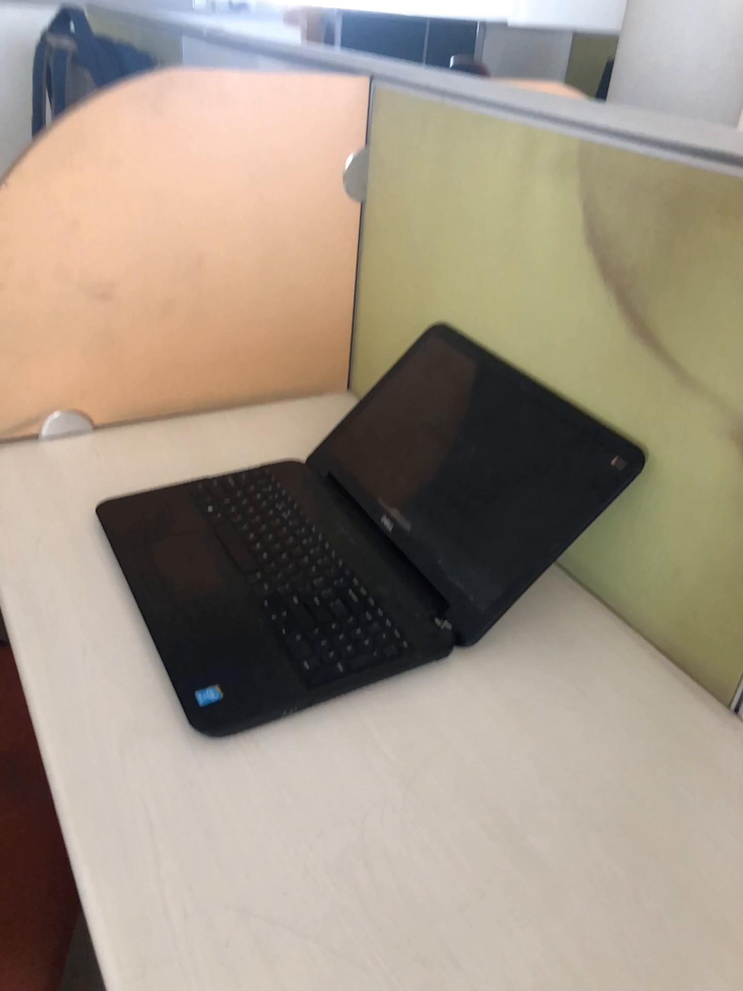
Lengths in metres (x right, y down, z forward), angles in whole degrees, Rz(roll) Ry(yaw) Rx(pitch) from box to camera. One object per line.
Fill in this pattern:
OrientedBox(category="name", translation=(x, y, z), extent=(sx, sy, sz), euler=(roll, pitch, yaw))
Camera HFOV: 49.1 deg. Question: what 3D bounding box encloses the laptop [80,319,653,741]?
OrientedBox(category="laptop", translation=(-0.024, -0.012, 0.816), extent=(0.427, 0.158, 0.357), euler=(-14, 37, -25))
